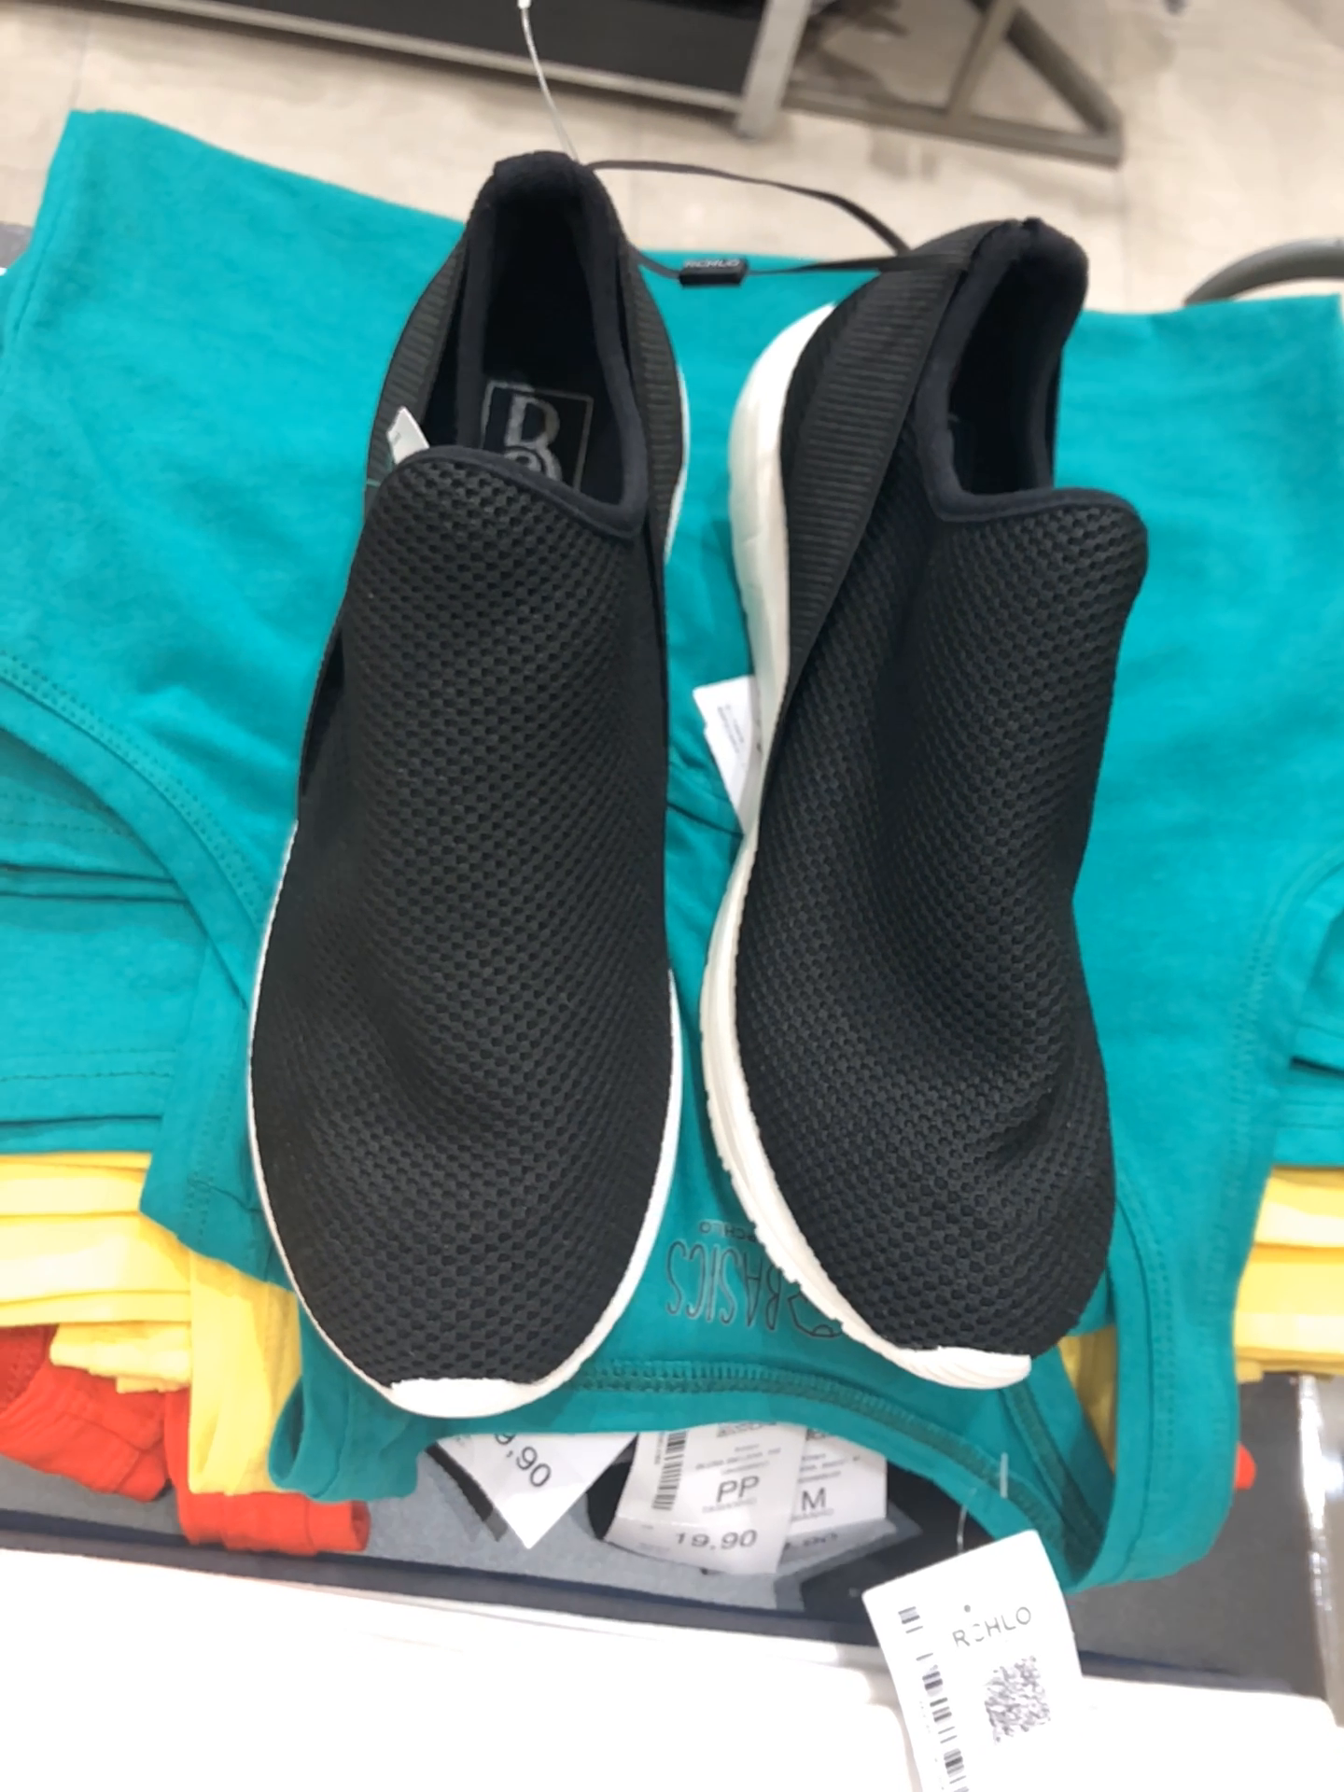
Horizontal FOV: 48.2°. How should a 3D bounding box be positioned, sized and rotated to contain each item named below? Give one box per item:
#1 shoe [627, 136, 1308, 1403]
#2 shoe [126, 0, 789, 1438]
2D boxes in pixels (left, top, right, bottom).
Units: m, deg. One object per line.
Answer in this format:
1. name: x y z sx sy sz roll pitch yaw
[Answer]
1. shoe: 0.048 -0.019 0.328 0.090 0.120 0.241 5 69 -10
2. shoe: -0.036 -0.032 0.305 0.090 0.120 0.260 5 72 -10
